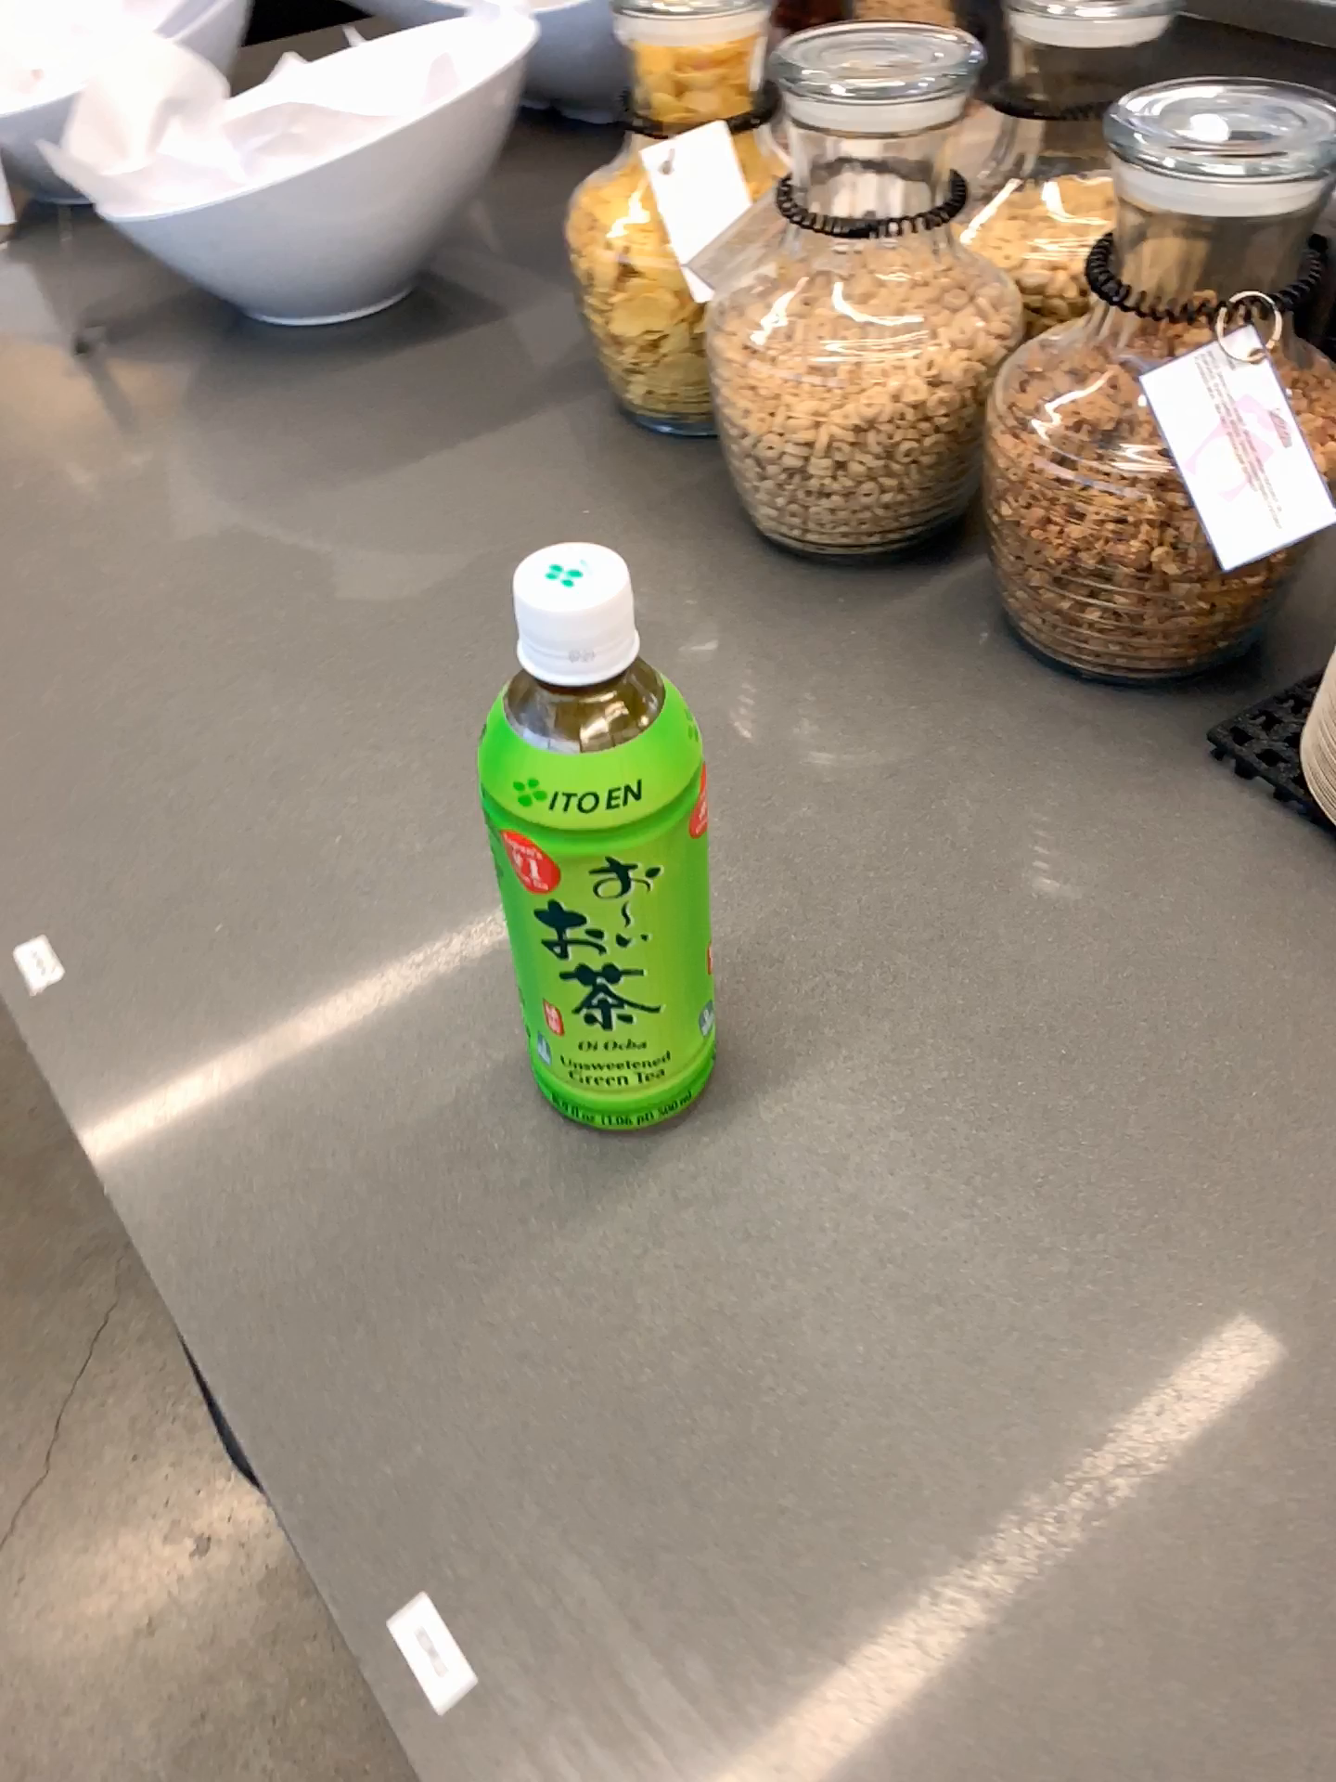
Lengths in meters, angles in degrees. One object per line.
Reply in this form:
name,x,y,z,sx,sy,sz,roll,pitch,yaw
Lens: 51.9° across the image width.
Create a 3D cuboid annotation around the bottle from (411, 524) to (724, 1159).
bottle,-0.020,-0.004,0.420,0.070,0.199,0.070,-2,45,2
